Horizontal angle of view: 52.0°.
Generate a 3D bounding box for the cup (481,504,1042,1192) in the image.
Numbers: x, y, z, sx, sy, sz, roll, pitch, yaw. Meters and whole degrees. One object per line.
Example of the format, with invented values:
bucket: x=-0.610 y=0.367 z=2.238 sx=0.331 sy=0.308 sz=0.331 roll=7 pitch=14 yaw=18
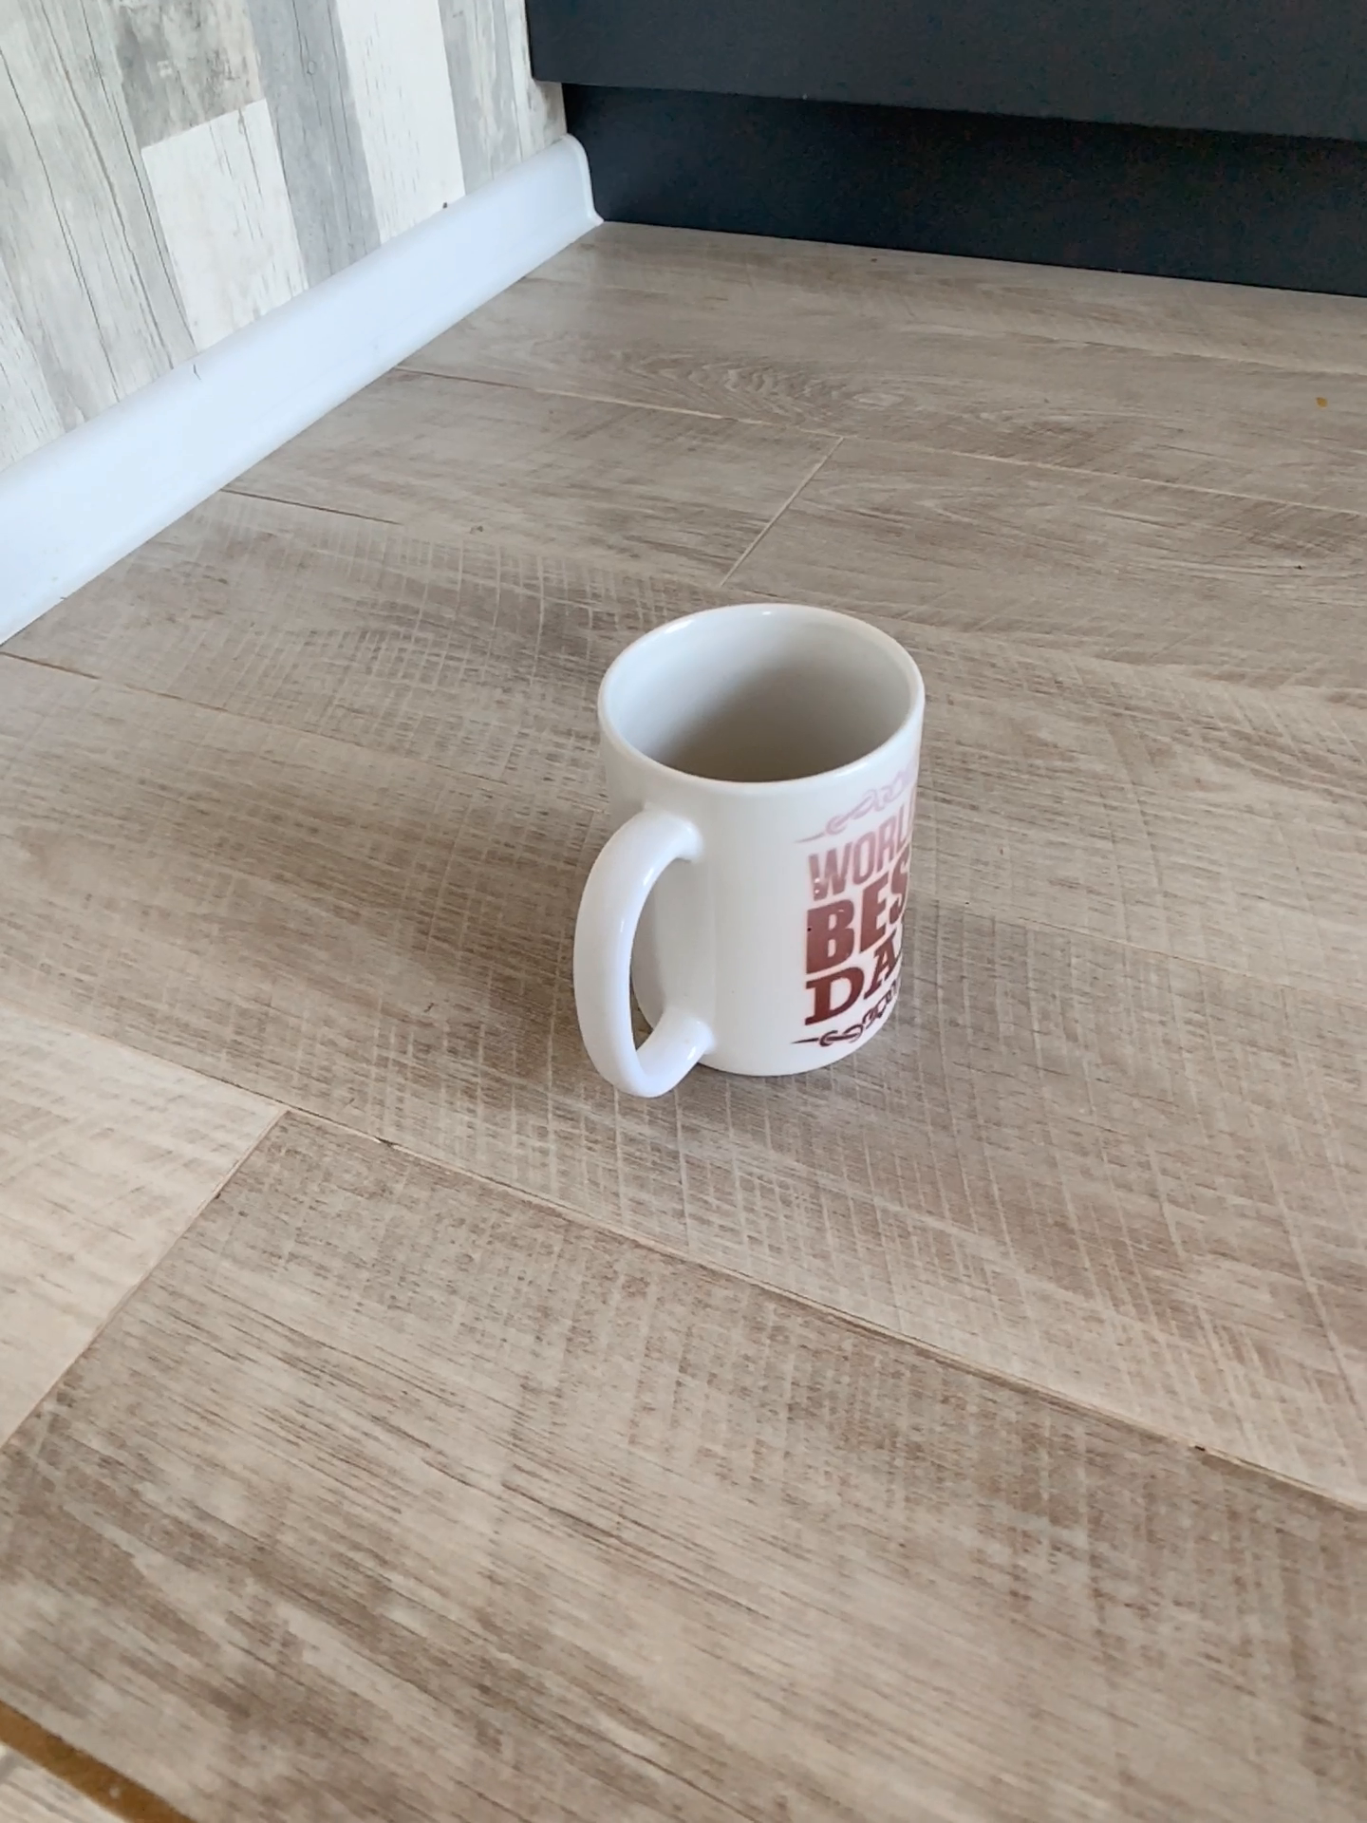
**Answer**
cup: x=0.026 y=-0.022 z=0.373 sx=0.080 sy=0.110 sz=0.130 roll=21 pitch=48 yaw=25
